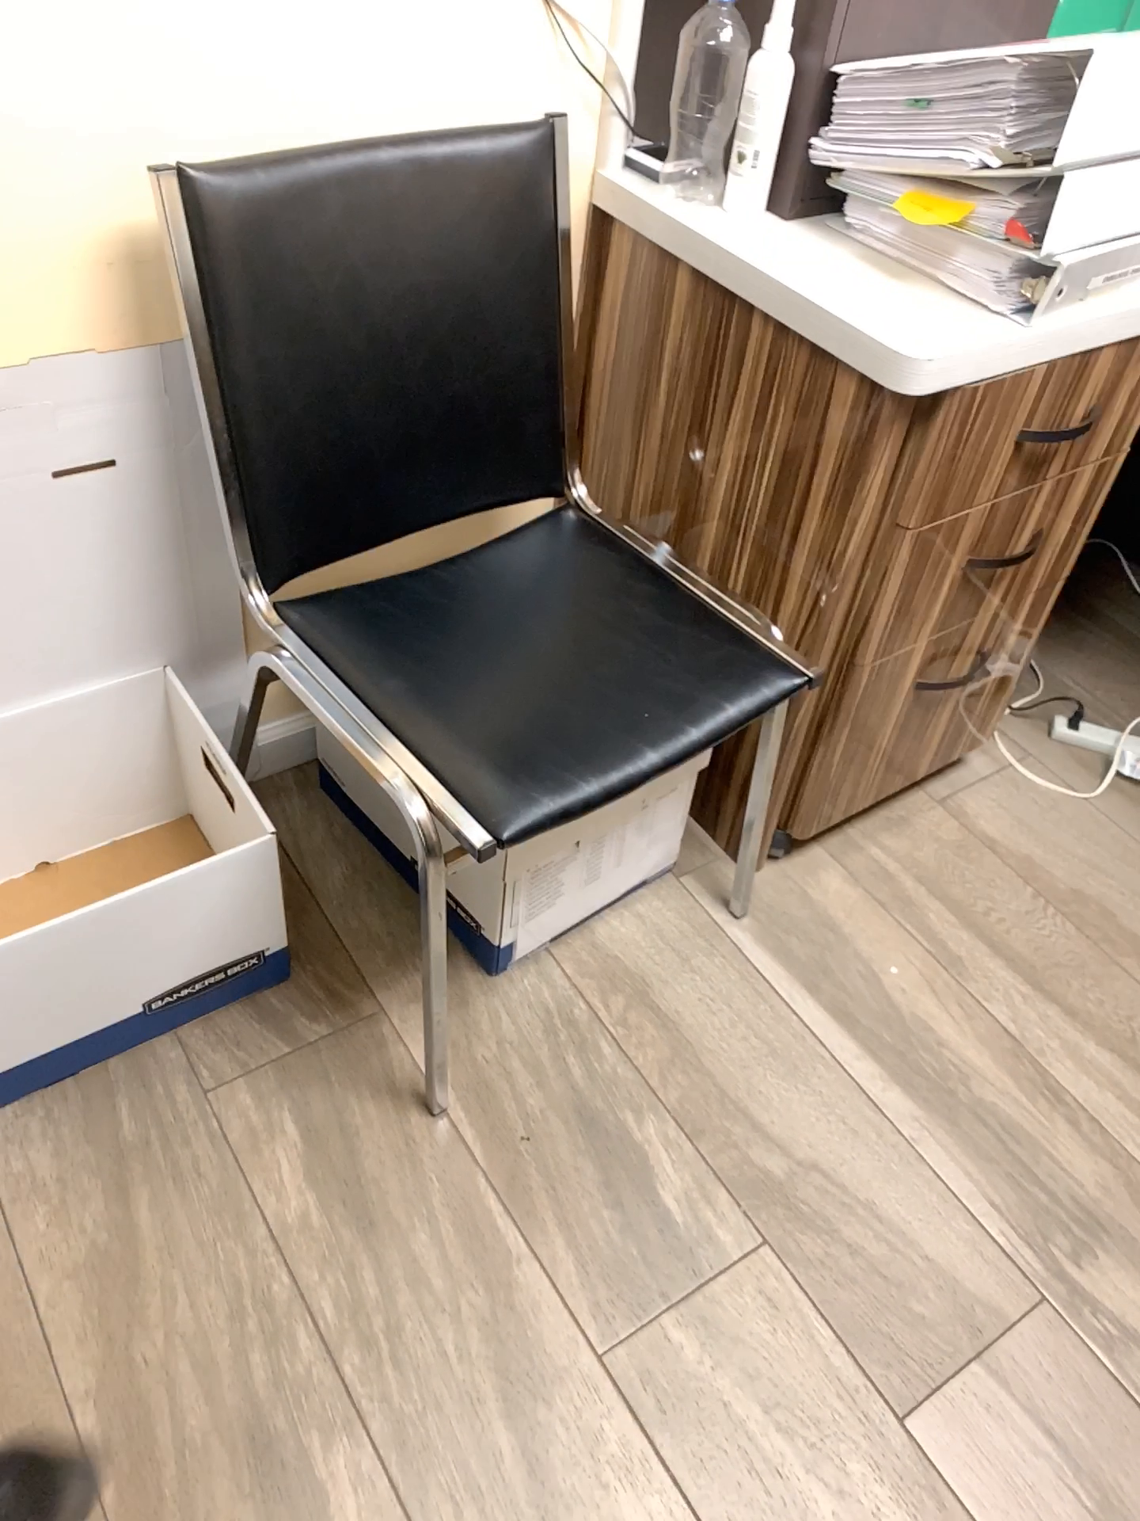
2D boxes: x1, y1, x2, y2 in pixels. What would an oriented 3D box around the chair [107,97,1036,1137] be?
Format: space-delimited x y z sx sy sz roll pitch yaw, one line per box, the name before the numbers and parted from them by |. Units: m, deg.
chair | -0.043 -0.144 1.234 0.556 0.813 0.530 -26 55 -30
